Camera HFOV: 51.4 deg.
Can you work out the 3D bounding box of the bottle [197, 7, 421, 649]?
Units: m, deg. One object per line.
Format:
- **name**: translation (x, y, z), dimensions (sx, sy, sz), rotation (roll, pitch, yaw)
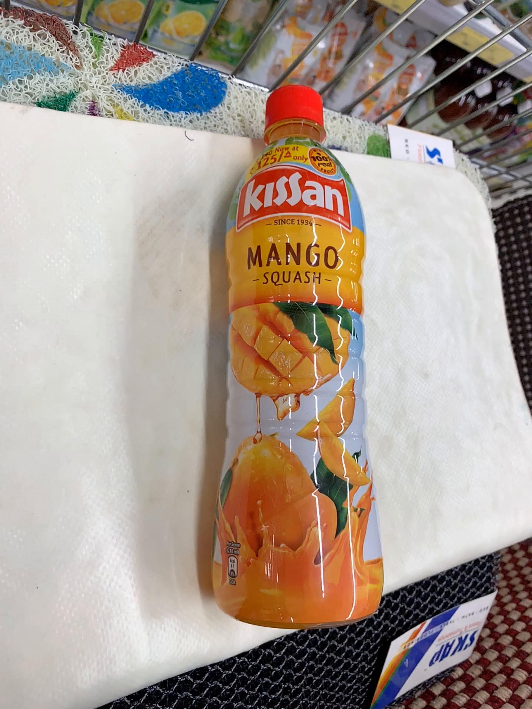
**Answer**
- **bottle**: translation (0.025, -0.011, 0.247), dimensions (0.080, 0.070, 0.230), rotation (11, 80, -65)
